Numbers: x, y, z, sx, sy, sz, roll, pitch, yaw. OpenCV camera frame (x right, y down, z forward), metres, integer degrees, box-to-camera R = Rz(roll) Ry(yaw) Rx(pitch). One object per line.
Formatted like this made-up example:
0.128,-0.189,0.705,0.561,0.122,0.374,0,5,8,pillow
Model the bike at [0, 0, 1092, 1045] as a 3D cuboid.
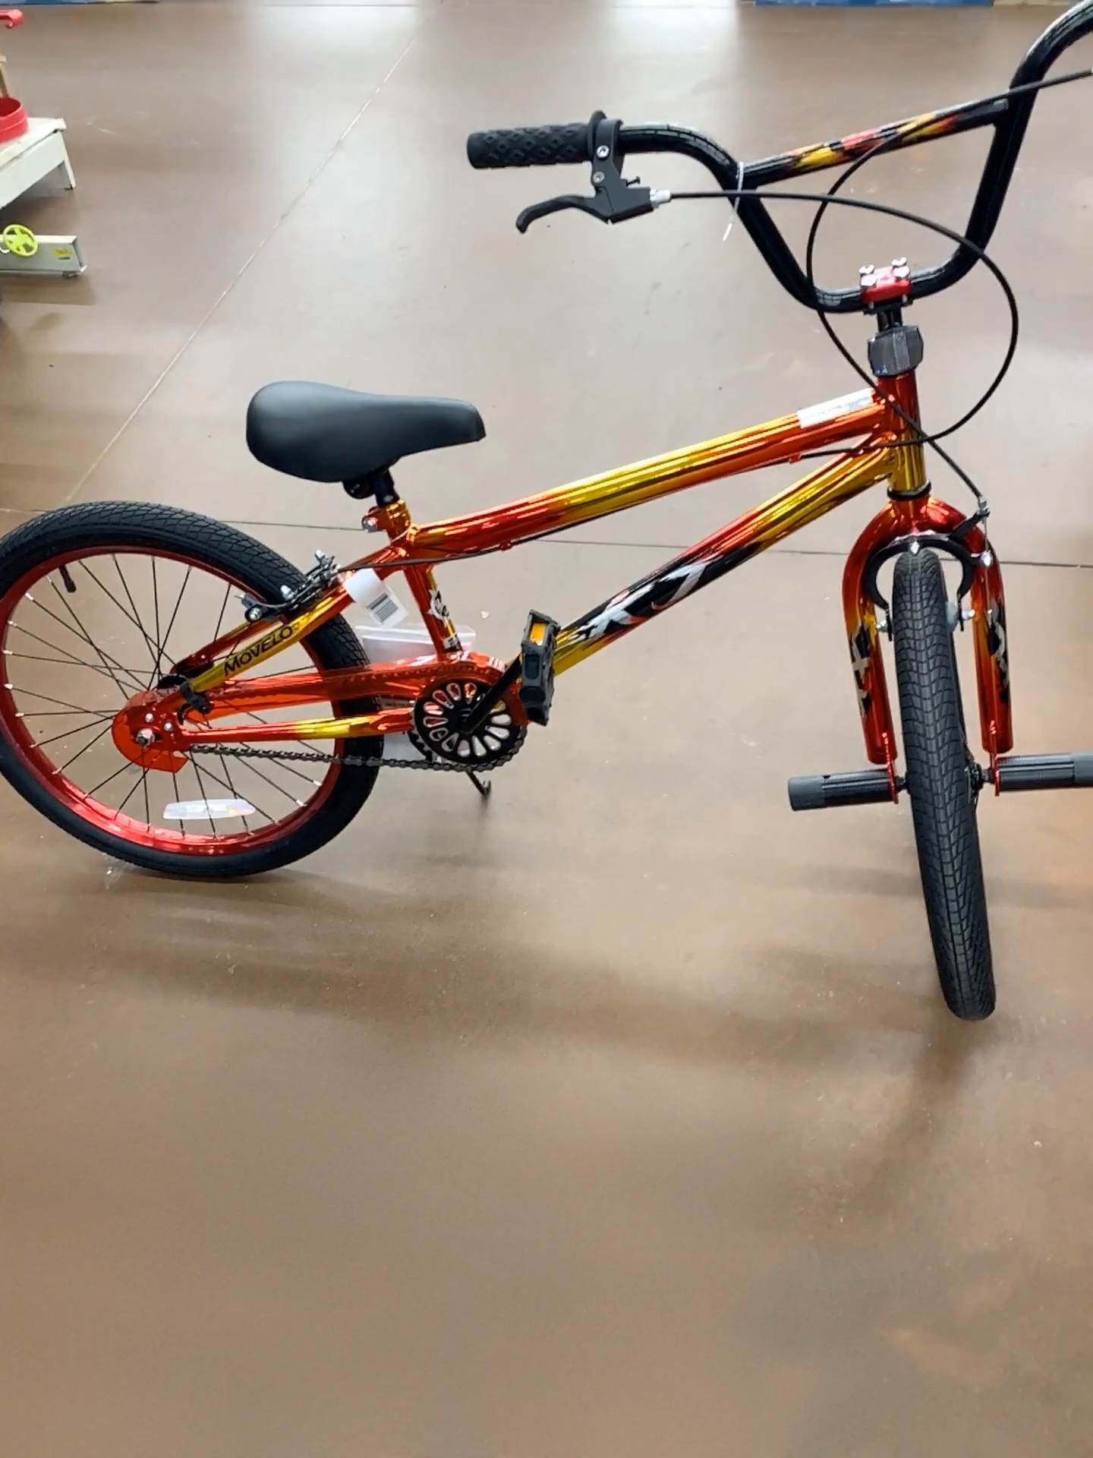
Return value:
-0.094,-0.308,1.154,1.122,0.925,0.707,-4,44,-1,bike
